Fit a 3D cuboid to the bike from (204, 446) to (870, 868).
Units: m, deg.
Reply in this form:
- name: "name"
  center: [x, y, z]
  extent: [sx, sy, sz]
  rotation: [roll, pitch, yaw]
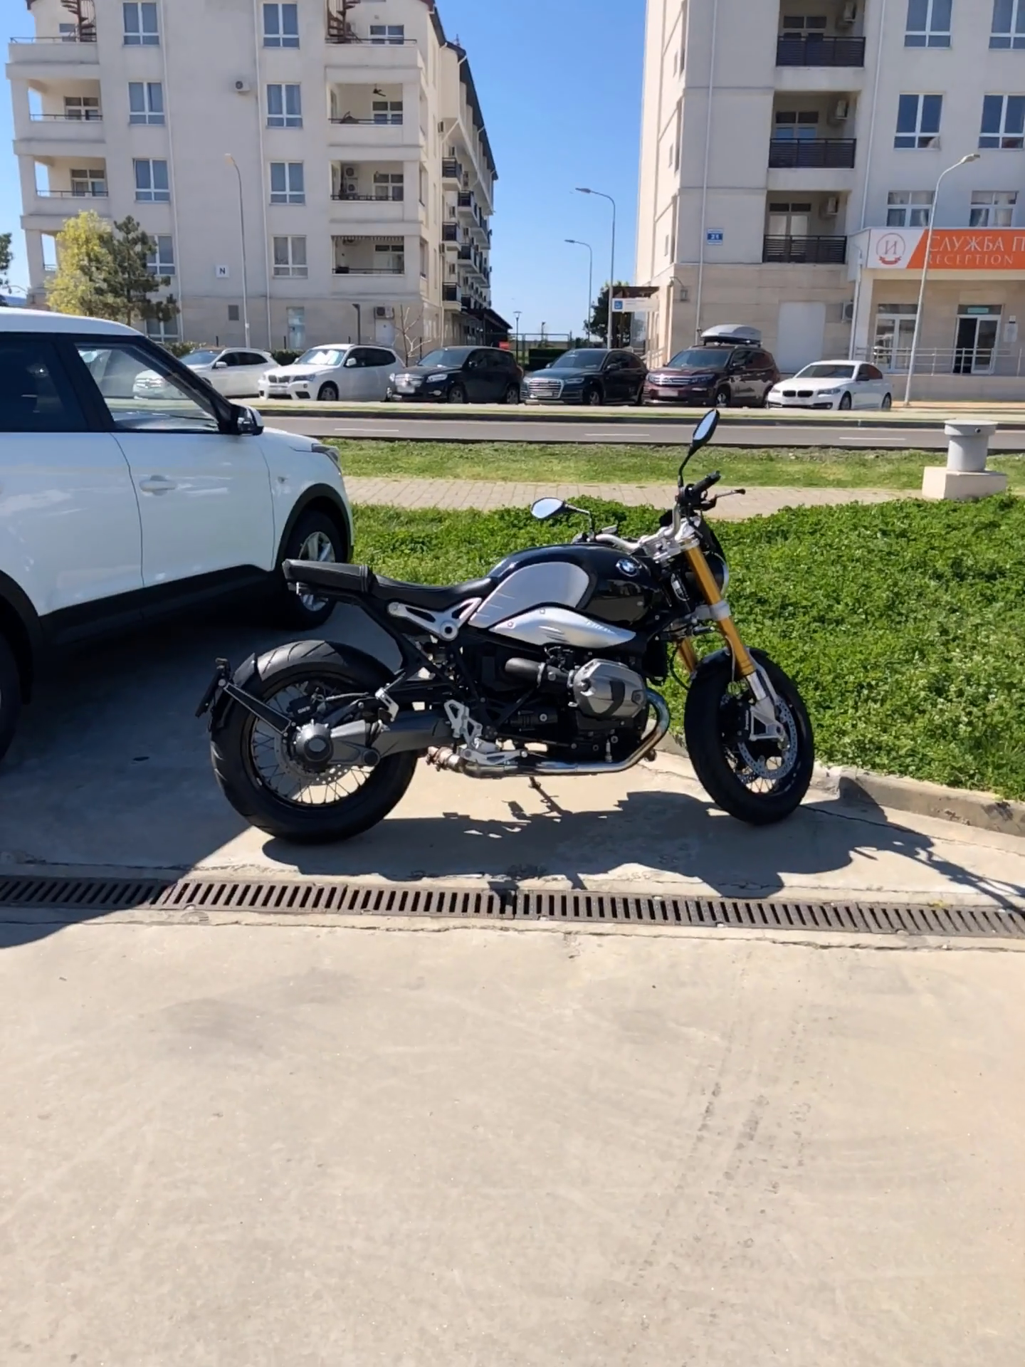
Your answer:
- name: "bike"
  center: [0.048, -0.172, 3.450]
  extent: [1.833, 1.013, 0.779]
  rotation: [-4, 16, -14]
